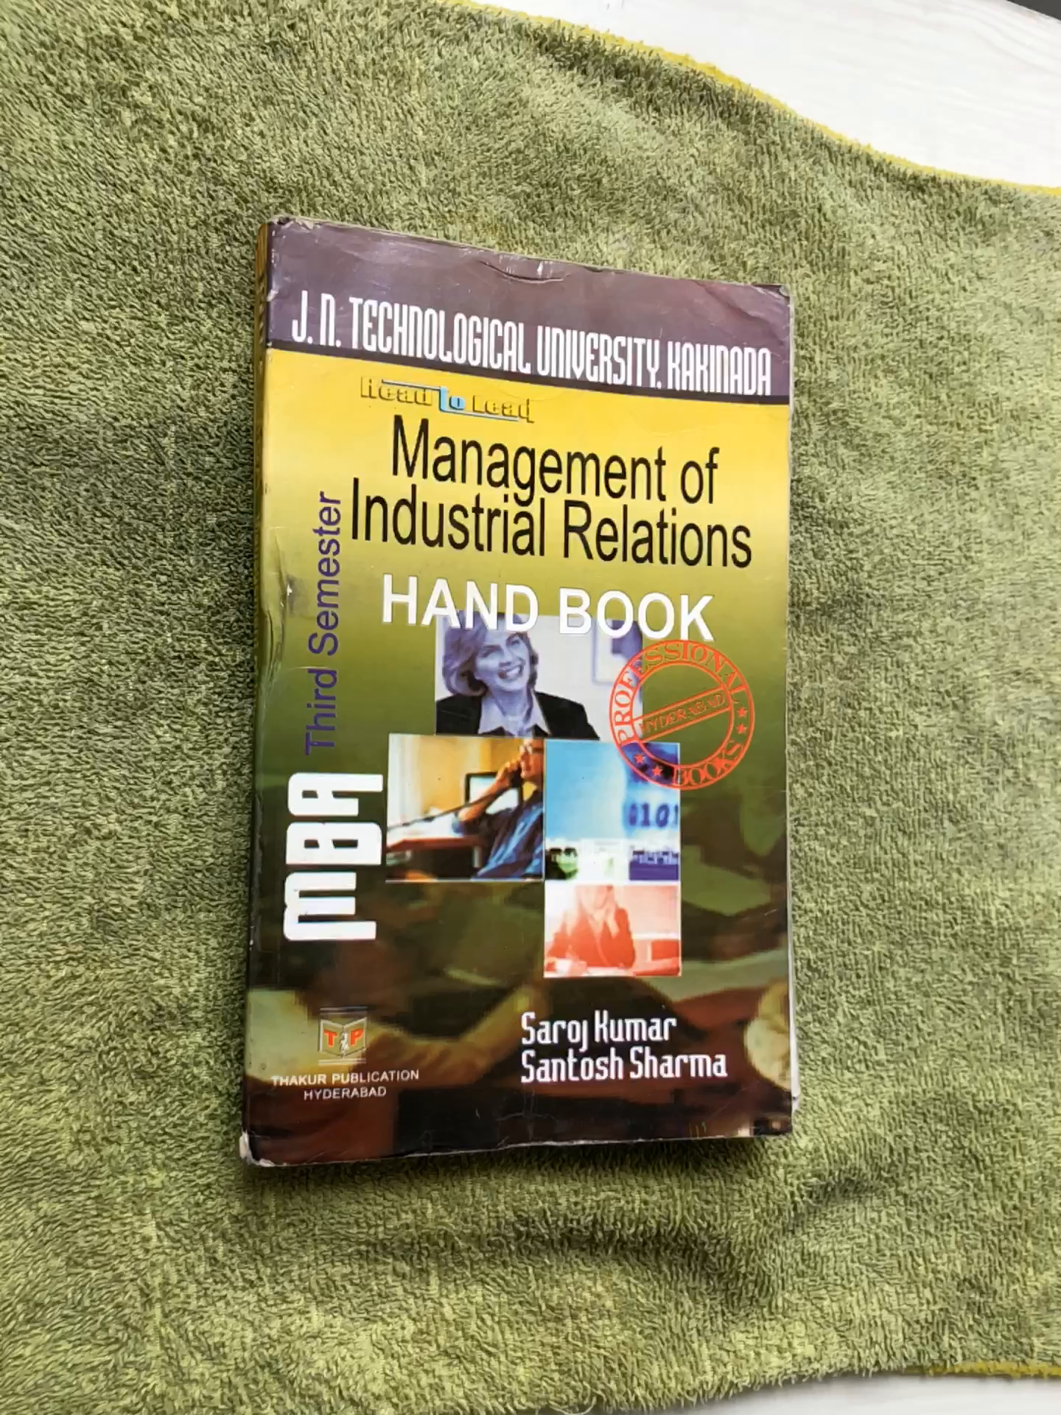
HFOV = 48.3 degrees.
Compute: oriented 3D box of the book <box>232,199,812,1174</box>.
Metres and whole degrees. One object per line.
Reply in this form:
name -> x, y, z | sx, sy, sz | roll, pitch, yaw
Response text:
book -> -0.001, -0.004, 0.313 | 0.140, 0.050, 0.220 | 3, 85, -20
